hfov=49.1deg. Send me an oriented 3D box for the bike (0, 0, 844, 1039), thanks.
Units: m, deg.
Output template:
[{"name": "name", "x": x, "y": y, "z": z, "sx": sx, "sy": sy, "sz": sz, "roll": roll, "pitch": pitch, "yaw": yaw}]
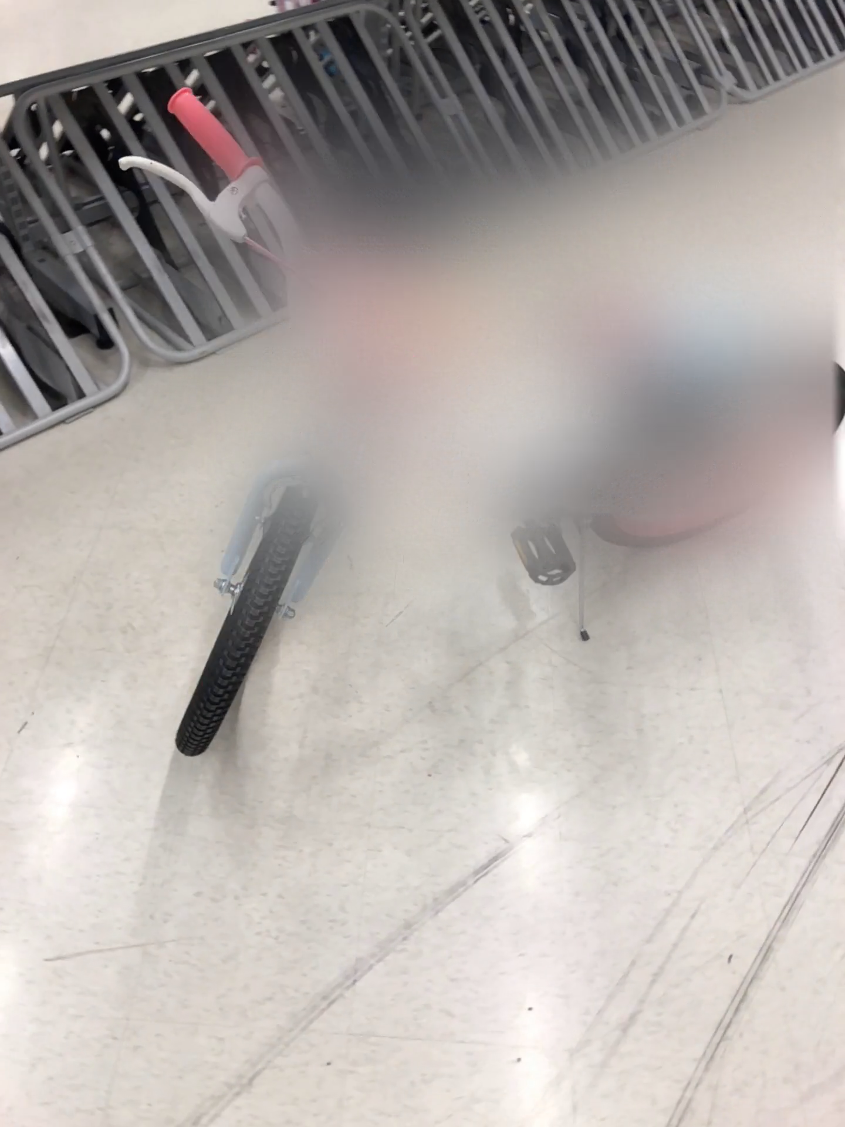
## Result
[{"name": "bike", "x": 0.234, "y": -0.134, "z": 1.307, "sx": 1.253, "sy": 0.962, "sz": 0.634, "roll": -23, "pitch": 53, "yaw": -20}]
